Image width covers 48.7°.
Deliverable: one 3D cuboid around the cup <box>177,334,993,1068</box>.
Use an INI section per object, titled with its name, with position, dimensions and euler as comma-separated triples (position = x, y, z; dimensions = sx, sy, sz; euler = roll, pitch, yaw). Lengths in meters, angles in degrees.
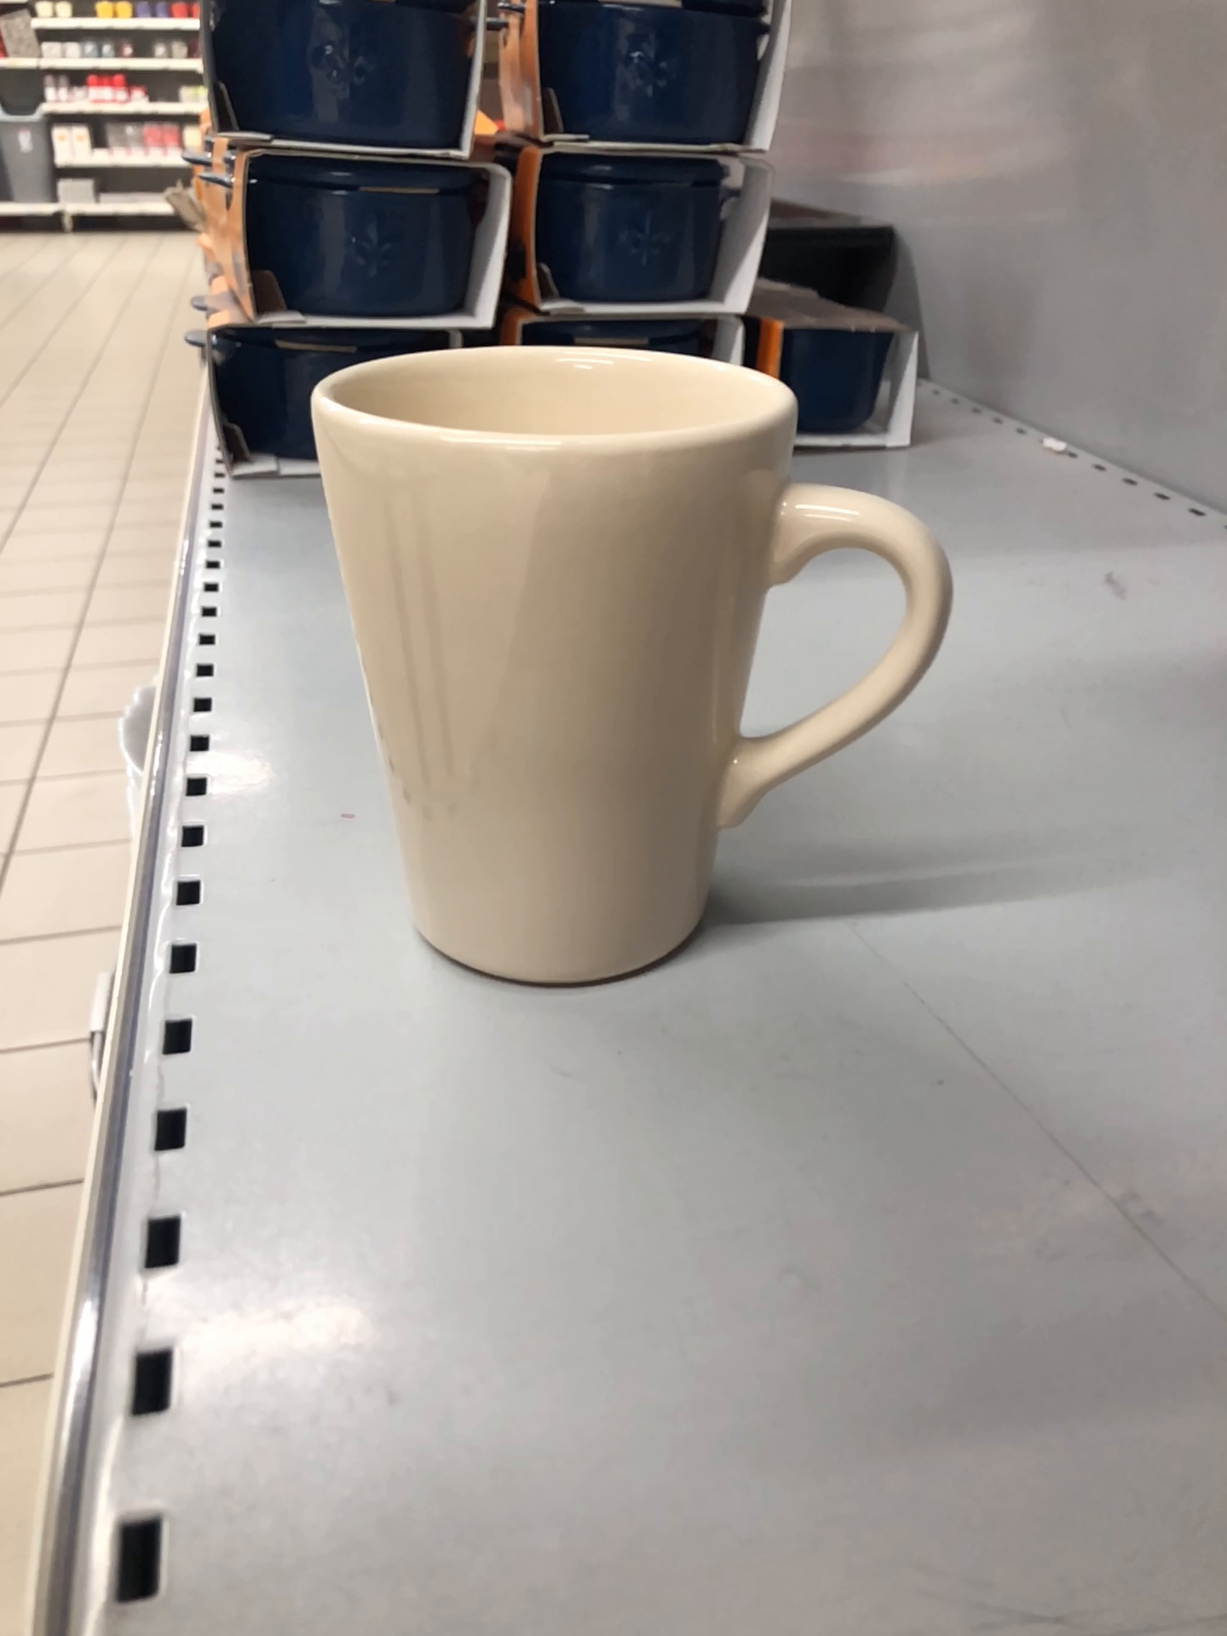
[cup]
position = 0.001, -0.029, 0.255
dimensions = 0.119, 0.099, 0.082
euler = 9, 29, 16
